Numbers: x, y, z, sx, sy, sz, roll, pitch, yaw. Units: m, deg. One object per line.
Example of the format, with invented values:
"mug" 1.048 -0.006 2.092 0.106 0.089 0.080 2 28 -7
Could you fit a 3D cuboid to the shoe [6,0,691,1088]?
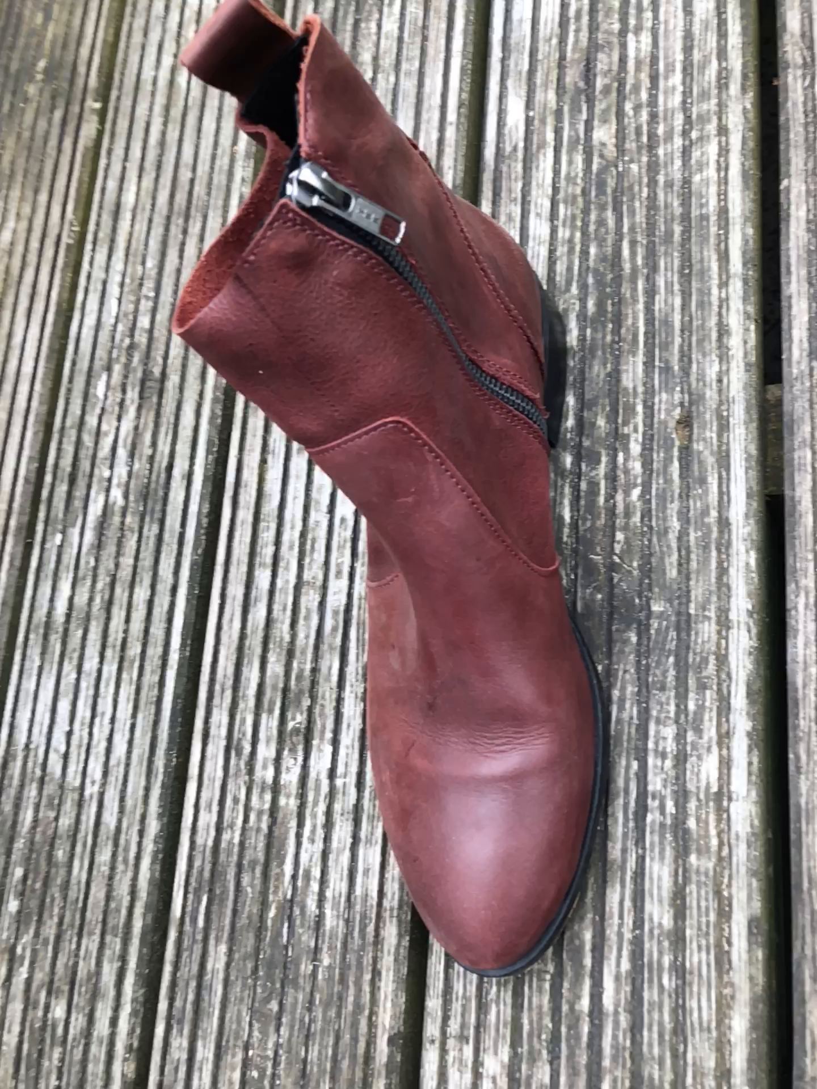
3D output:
"shoe" 0.024 -0.009 0.310 0.090 0.240 0.340 -2 76 28
